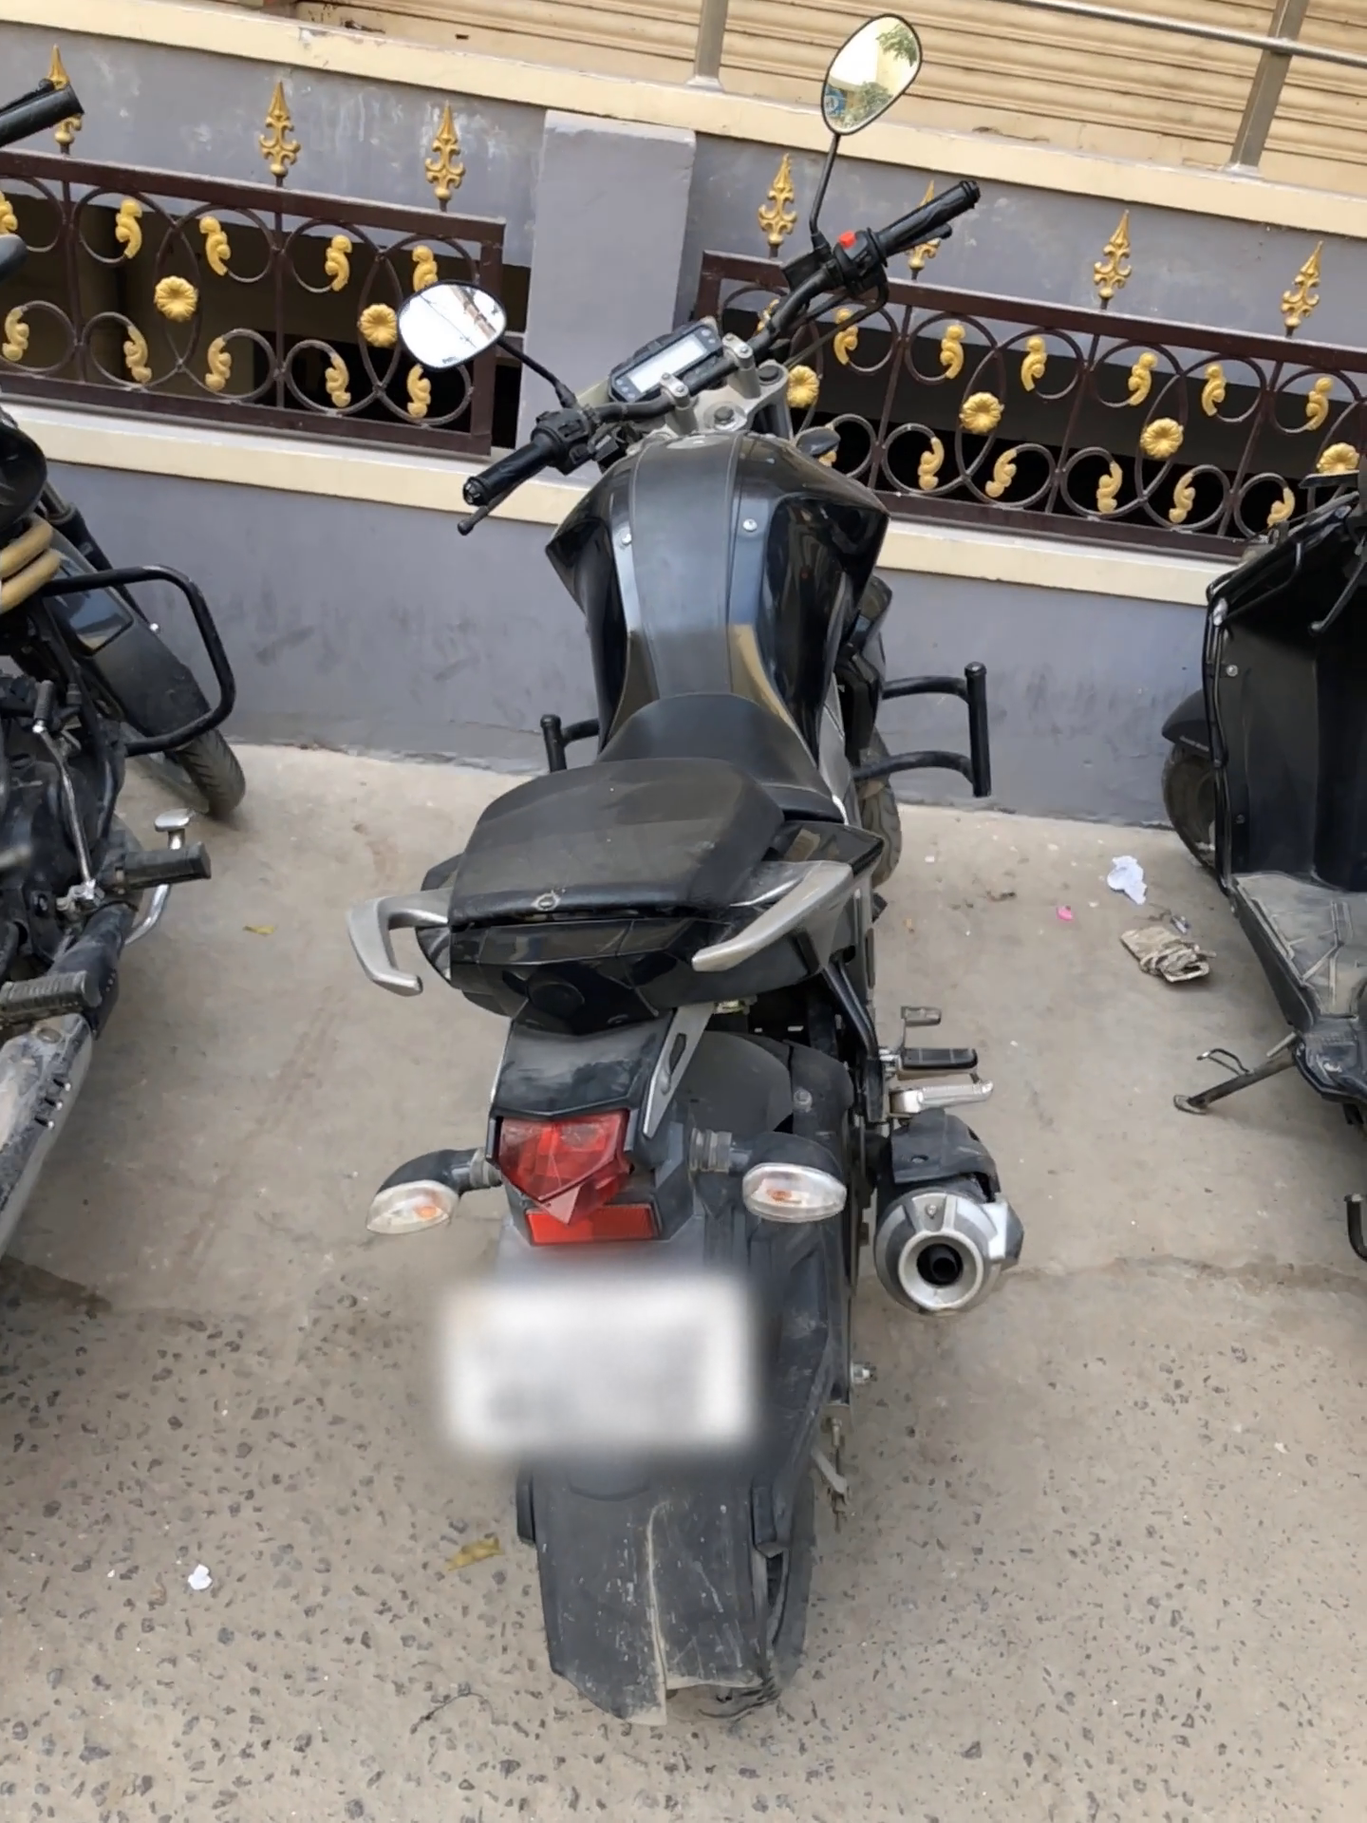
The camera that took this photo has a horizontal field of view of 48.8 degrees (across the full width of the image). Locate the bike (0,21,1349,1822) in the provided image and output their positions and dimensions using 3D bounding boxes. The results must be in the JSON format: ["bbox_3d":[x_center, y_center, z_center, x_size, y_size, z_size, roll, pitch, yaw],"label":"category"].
[{"bbox_3d":[-0.117,-0.241,1.769,0.692,1.197,1.767,7,33,-4],"label":"bike"}]
